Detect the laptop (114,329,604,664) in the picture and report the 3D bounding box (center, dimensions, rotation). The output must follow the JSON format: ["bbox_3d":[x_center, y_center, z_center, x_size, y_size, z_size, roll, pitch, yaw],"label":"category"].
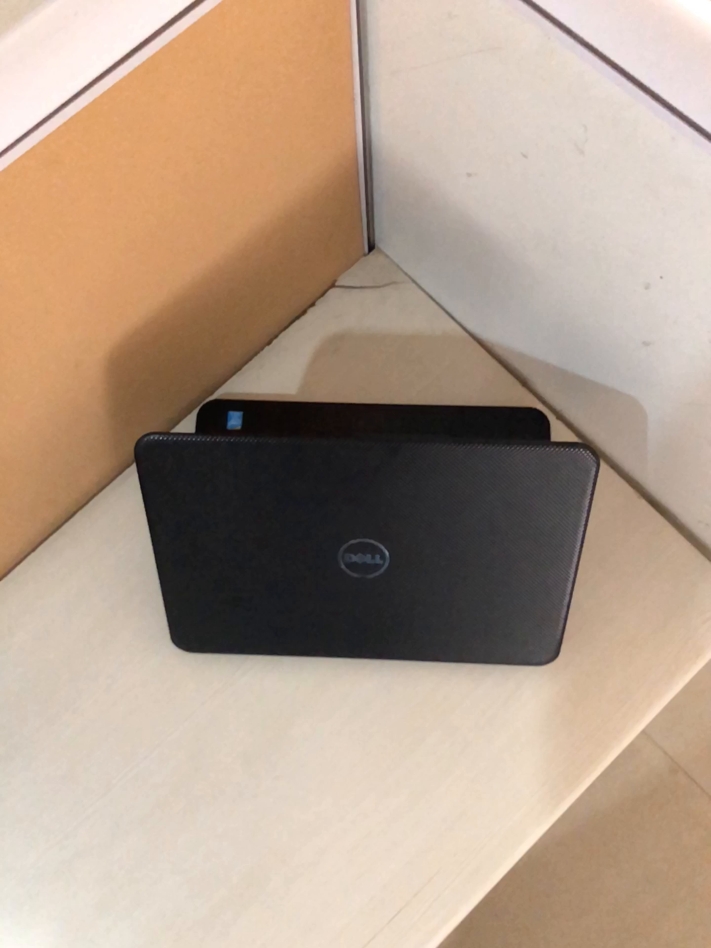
[{"bbox_3d":[0.010,0.031,0.686,0.351,0.180,0.254,1,75,1],"label":"laptop"}]
